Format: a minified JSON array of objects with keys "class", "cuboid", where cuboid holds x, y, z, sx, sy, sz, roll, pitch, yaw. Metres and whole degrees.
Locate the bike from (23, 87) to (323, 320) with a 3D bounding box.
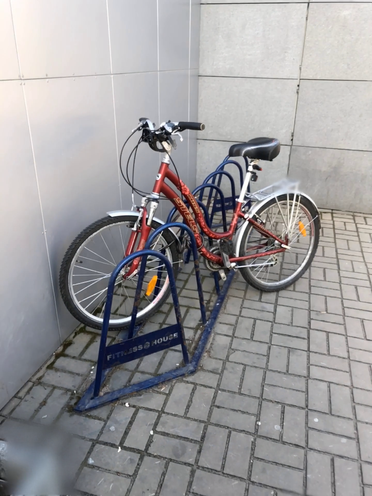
[{"class":"bike","cuboid":[-0.062,-0.263,2.198,1.305,0.973,0.598,-6,25,-24]}]
